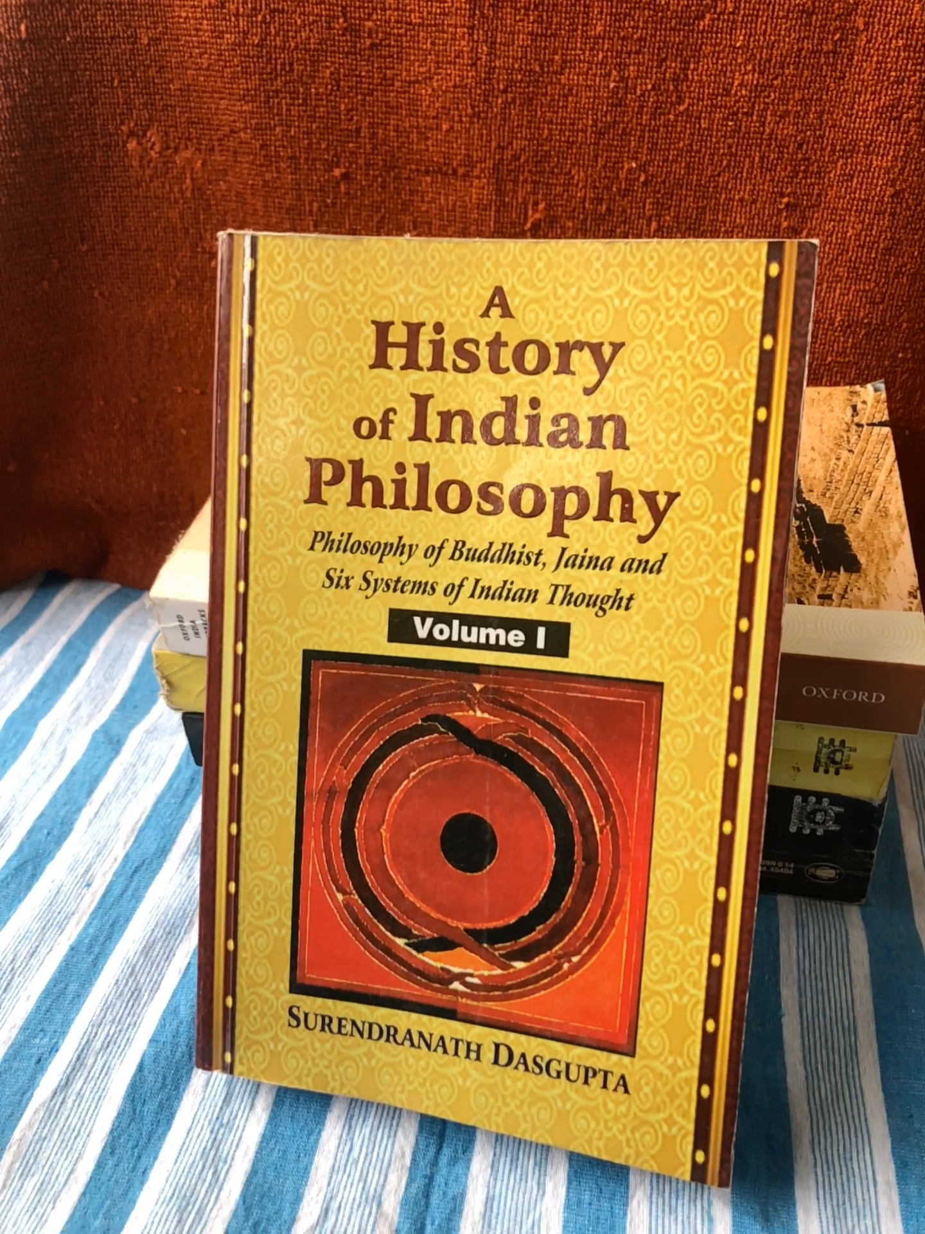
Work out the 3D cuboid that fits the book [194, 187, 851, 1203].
[{"bbox_3d":[0.011,0.014,0.258,0.141,0.216,0.048,5,6,16],"label":"book"}]
